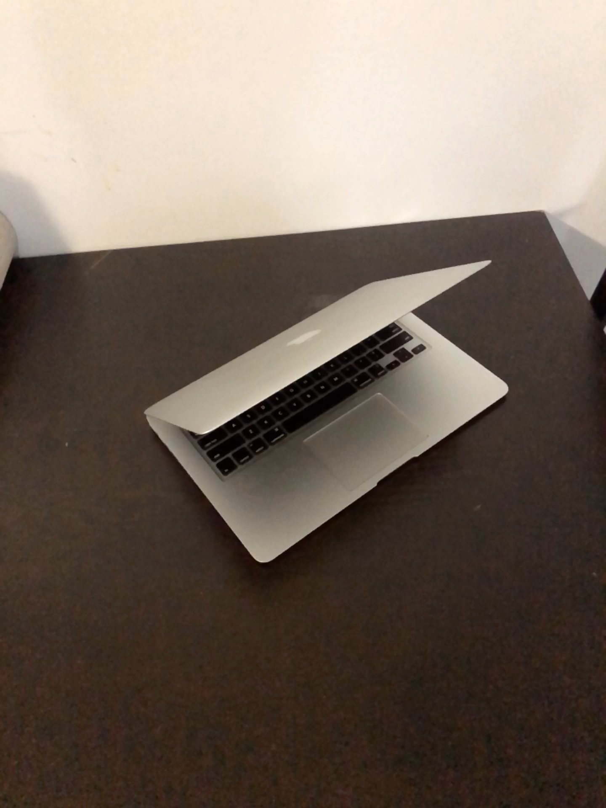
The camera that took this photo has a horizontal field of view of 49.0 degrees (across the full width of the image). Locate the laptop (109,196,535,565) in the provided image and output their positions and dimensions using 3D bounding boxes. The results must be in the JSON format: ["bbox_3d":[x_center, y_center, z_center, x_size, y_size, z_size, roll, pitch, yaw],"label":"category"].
[{"bbox_3d":[0.021,-0.044,0.669,0.331,0.131,0.226,-31,52,-21],"label":"laptop"}]
